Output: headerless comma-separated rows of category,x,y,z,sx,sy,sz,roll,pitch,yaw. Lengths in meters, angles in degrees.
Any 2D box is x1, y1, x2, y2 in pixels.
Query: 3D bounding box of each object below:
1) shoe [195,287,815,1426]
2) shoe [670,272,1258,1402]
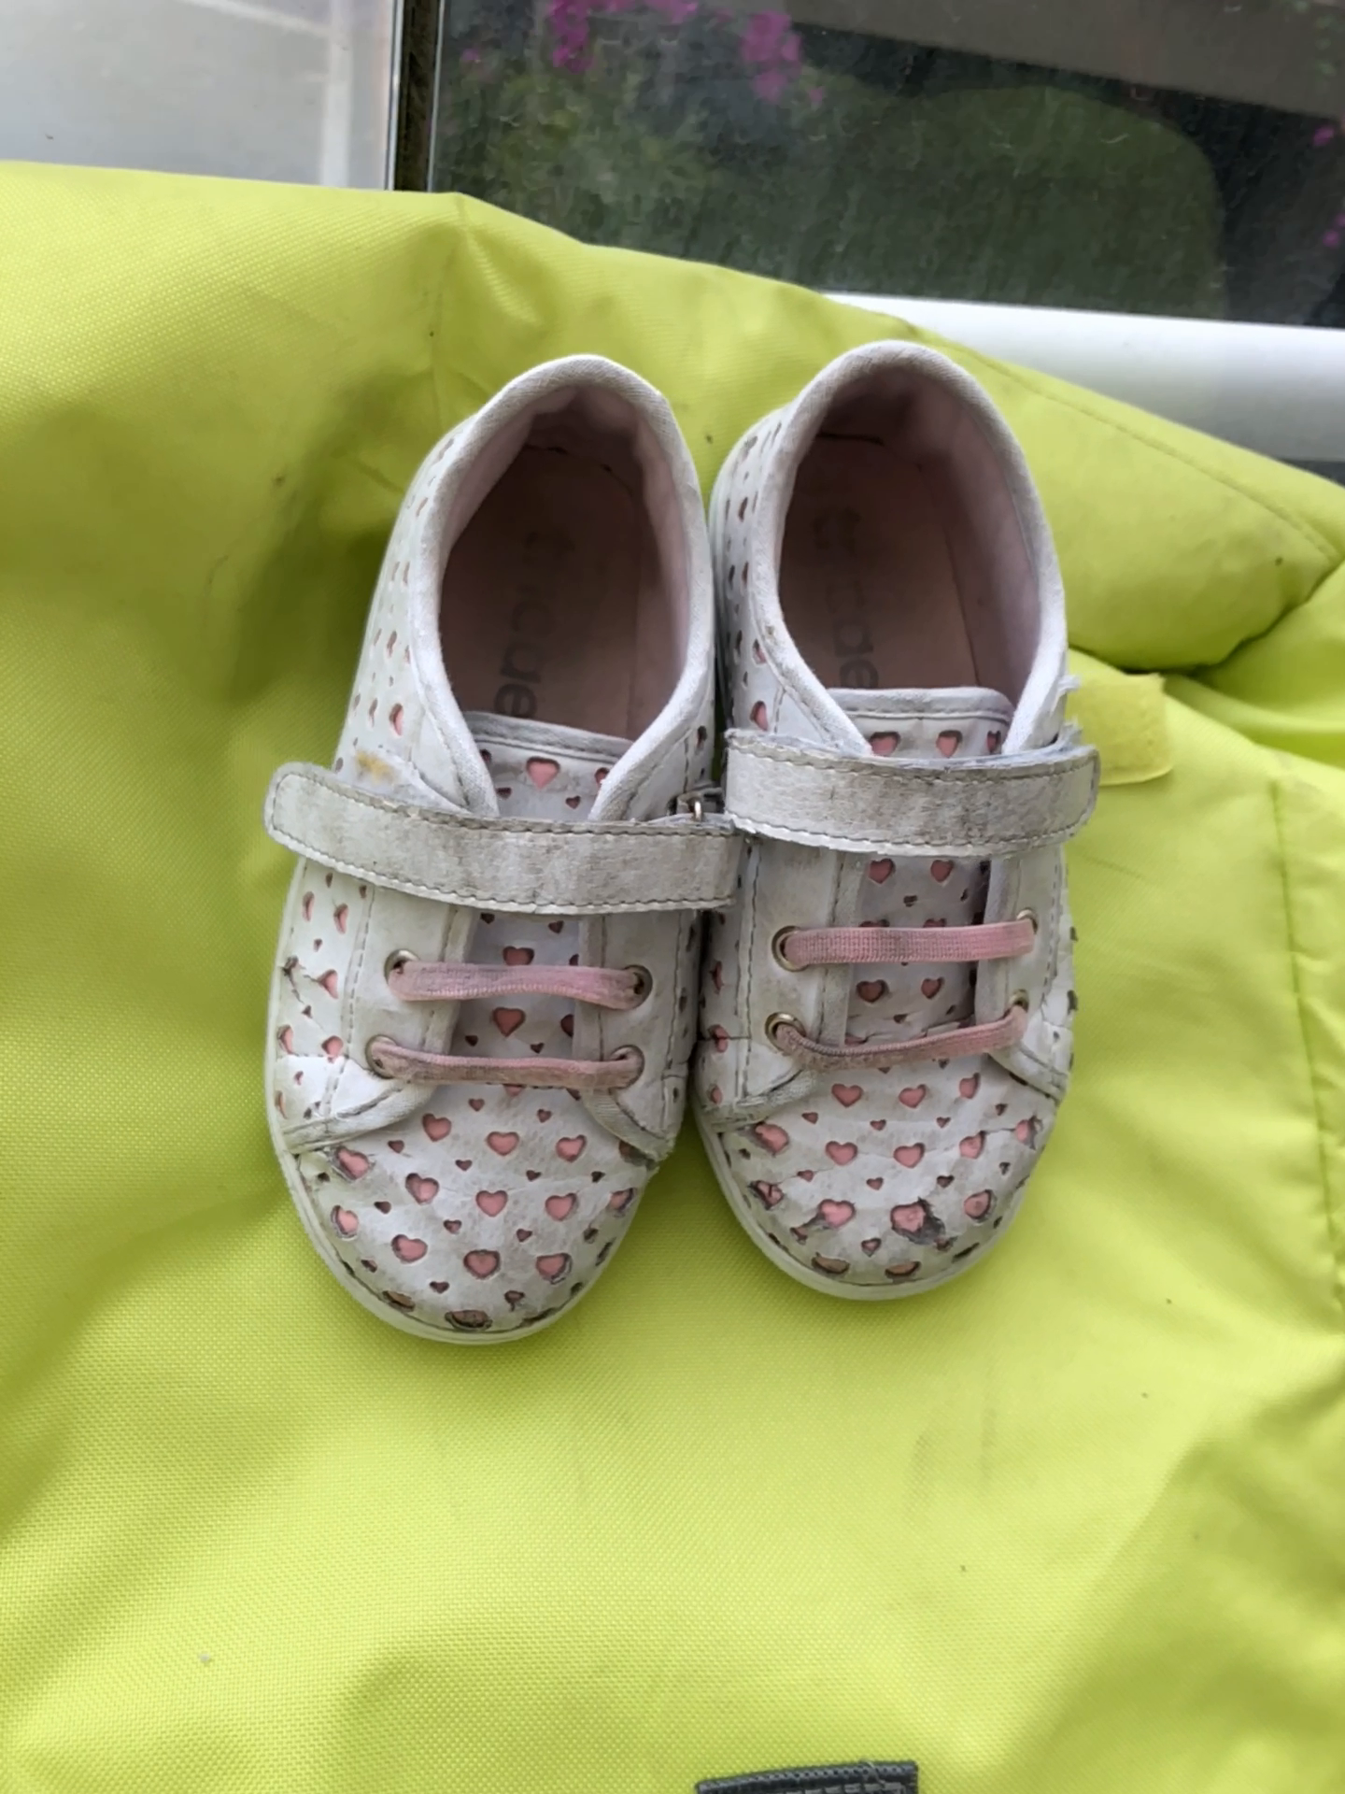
shoe,-0.031,-0.005,0.271,0.080,0.060,0.176,6,91,-9
shoe,0.049,-0.010,0.272,0.080,0.060,0.176,-1,88,-15
